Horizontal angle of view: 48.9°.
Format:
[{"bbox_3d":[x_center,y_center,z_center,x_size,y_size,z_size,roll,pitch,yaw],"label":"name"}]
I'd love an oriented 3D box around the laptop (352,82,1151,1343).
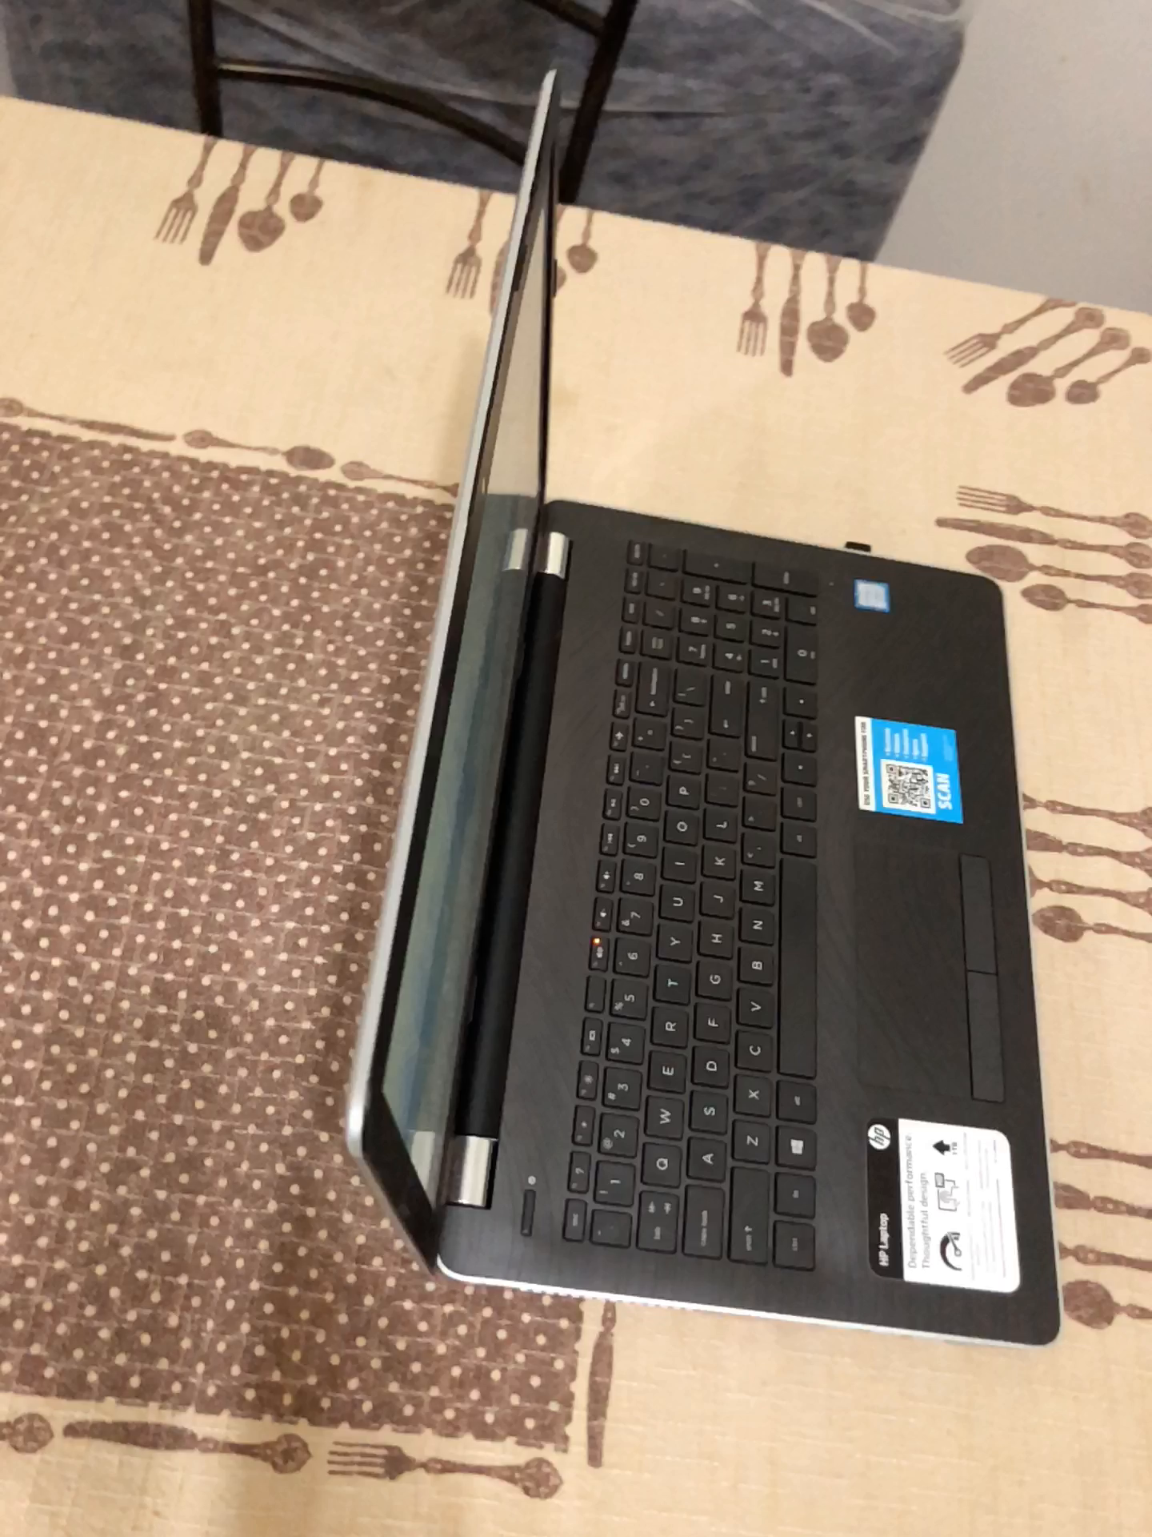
[{"bbox_3d":[0.087,-0.009,0.457,0.267,0.226,0.361,9,61,-5],"label":"laptop"}]
